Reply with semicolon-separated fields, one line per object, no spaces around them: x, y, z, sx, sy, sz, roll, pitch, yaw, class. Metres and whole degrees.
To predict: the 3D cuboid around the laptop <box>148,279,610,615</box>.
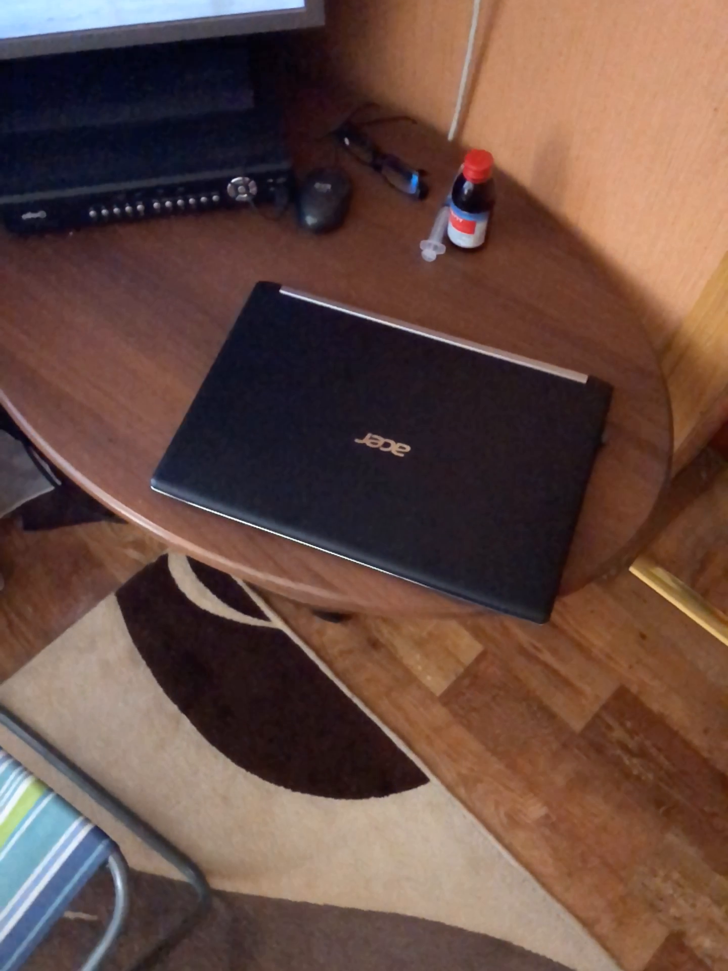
0.021;-0.051;0.741;0.363;0.004;0.240;19;66;8;laptop
